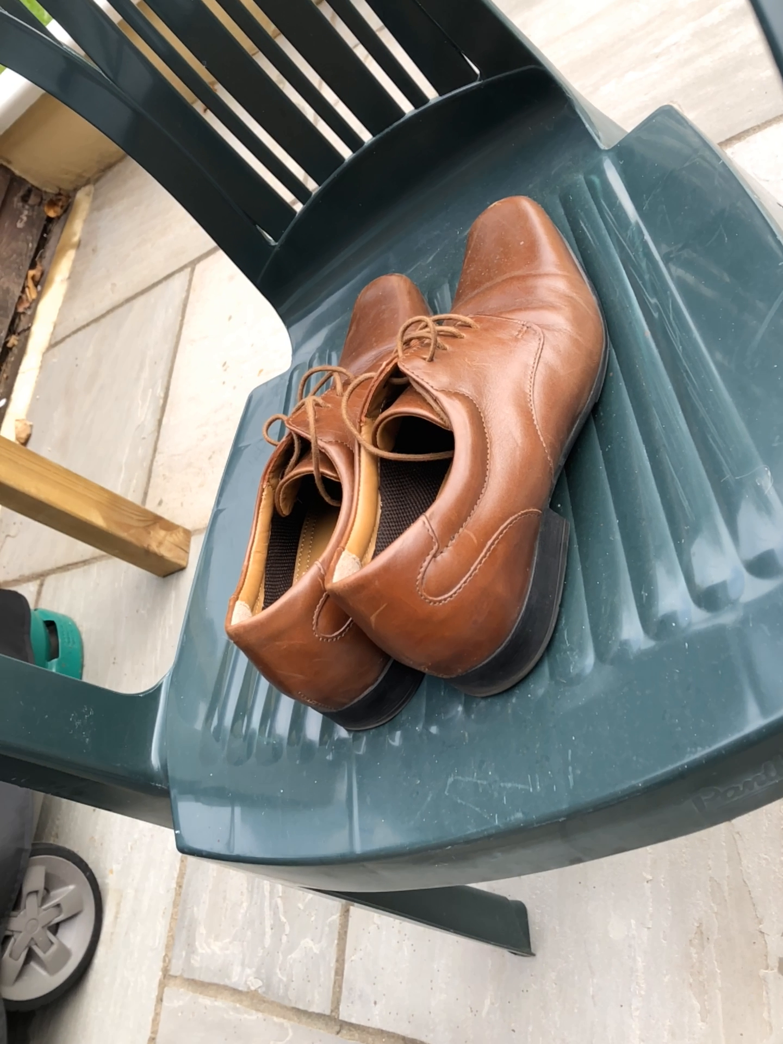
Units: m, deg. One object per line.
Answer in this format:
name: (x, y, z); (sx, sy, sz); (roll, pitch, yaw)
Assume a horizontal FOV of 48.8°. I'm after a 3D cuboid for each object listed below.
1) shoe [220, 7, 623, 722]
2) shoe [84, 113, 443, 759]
shoe: (0.020, -0.066, 0.389); (0.110, 0.109, 0.281); (-17, 58, 38)
shoe: (-0.052, -0.042, 0.440); (0.110, 0.109, 0.291); (-20, 56, 37)
